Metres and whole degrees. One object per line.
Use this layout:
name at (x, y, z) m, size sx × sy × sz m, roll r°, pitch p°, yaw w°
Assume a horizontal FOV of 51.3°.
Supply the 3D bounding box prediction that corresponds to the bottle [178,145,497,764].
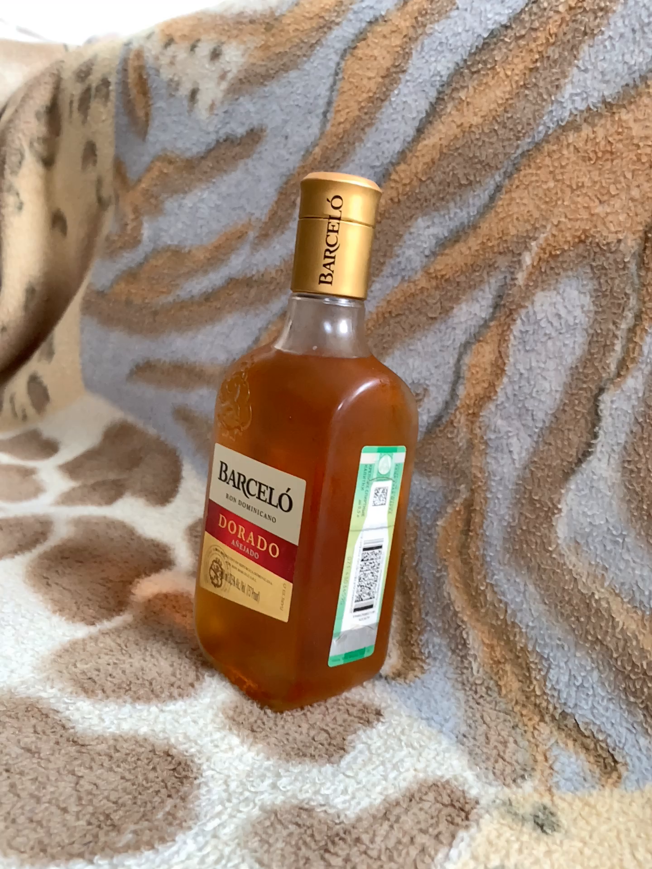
bottle at (-0.001, 0.004, 0.291) m, size 0.070 × 0.219 × 0.090 m, roll -3°, pitch 13°, yaw -44°
